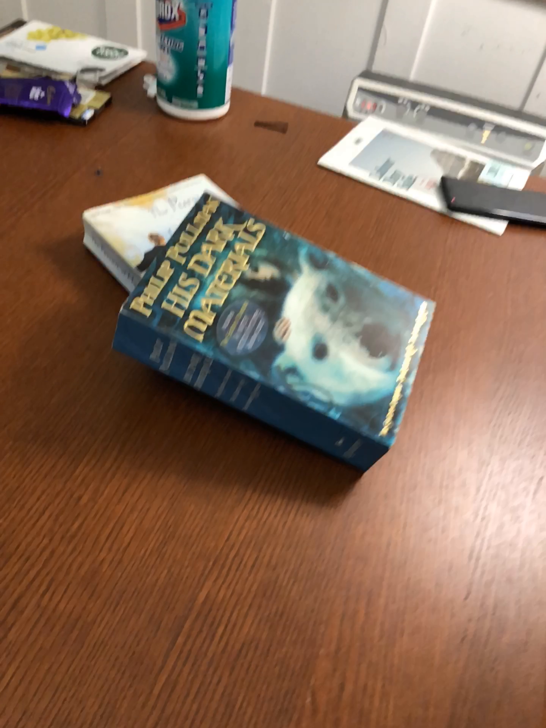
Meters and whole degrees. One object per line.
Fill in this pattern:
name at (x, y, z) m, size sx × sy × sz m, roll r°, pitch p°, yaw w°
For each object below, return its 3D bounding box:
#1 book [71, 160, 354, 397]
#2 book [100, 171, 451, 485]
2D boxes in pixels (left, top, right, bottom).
book at (-0.065, -0.100, 0.600) m, size 0.171 × 0.040 × 0.241 m, roll -28°, pitch 60°, yaw -25°
book at (0.013, -0.036, 0.492) m, size 0.240 × 0.060 × 0.171 m, roll 26°, pitch 51°, yaw -3°
